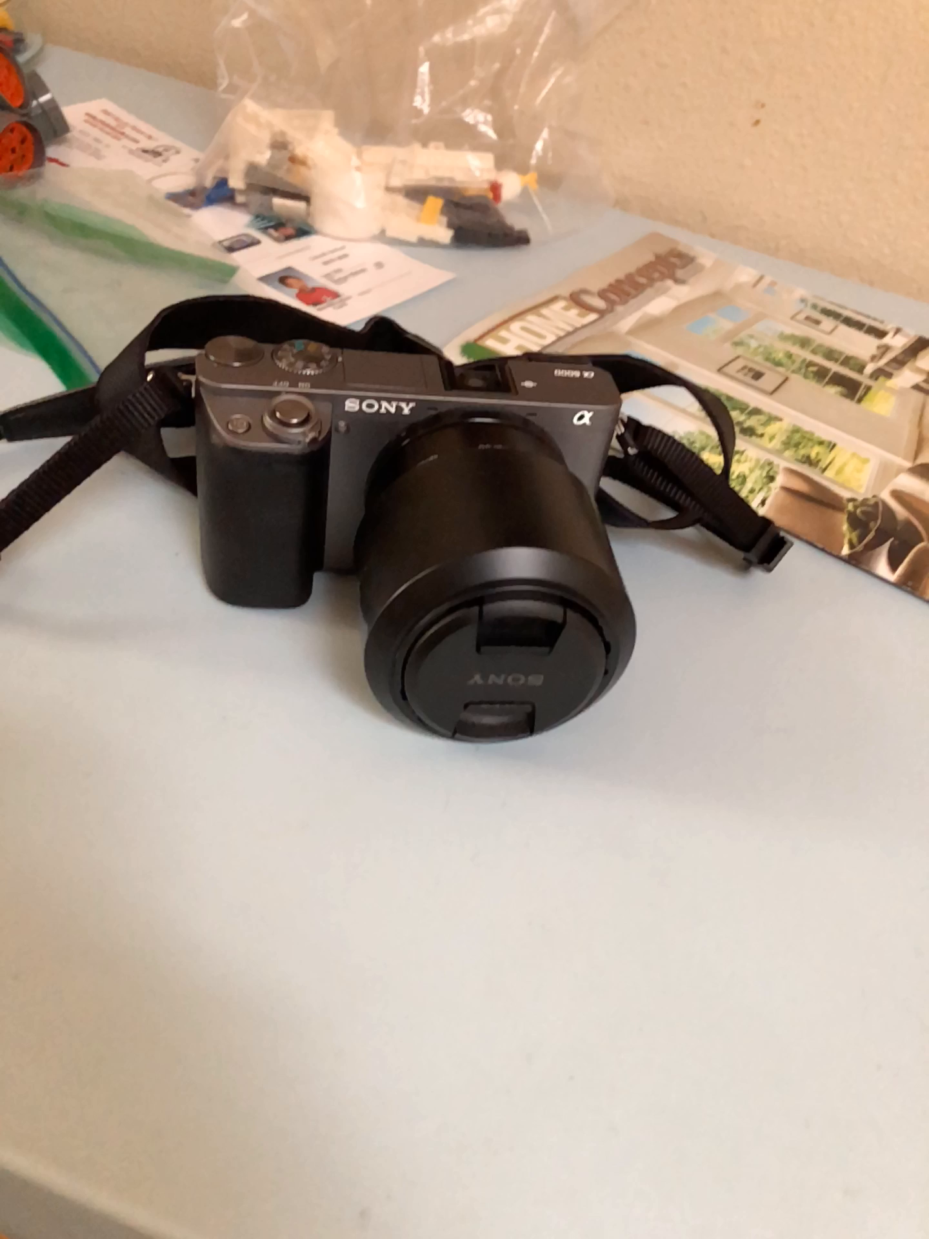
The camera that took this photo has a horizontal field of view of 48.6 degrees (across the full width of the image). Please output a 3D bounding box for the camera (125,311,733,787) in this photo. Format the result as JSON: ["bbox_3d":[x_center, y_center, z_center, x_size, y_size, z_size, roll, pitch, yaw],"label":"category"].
[{"bbox_3d":[-0.015,-0.020,0.280,0.130,0.070,0.111,2,43,-10],"label":"camera"}]
